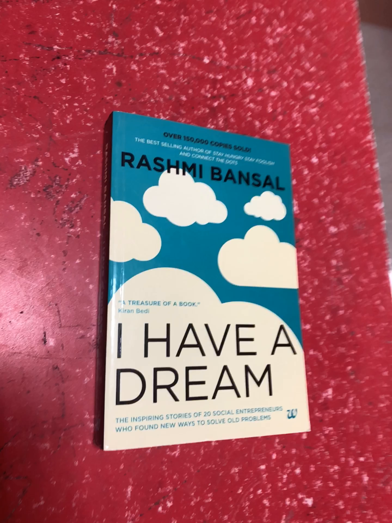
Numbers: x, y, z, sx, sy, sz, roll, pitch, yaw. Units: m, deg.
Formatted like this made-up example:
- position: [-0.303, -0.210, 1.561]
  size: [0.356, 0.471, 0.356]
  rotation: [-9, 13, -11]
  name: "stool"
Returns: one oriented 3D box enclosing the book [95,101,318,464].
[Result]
- position: [0.006, 0.009, 0.278]
  size: [0.130, 0.030, 0.200]
  rotation: [3, 77, -22]
  name: "book"
